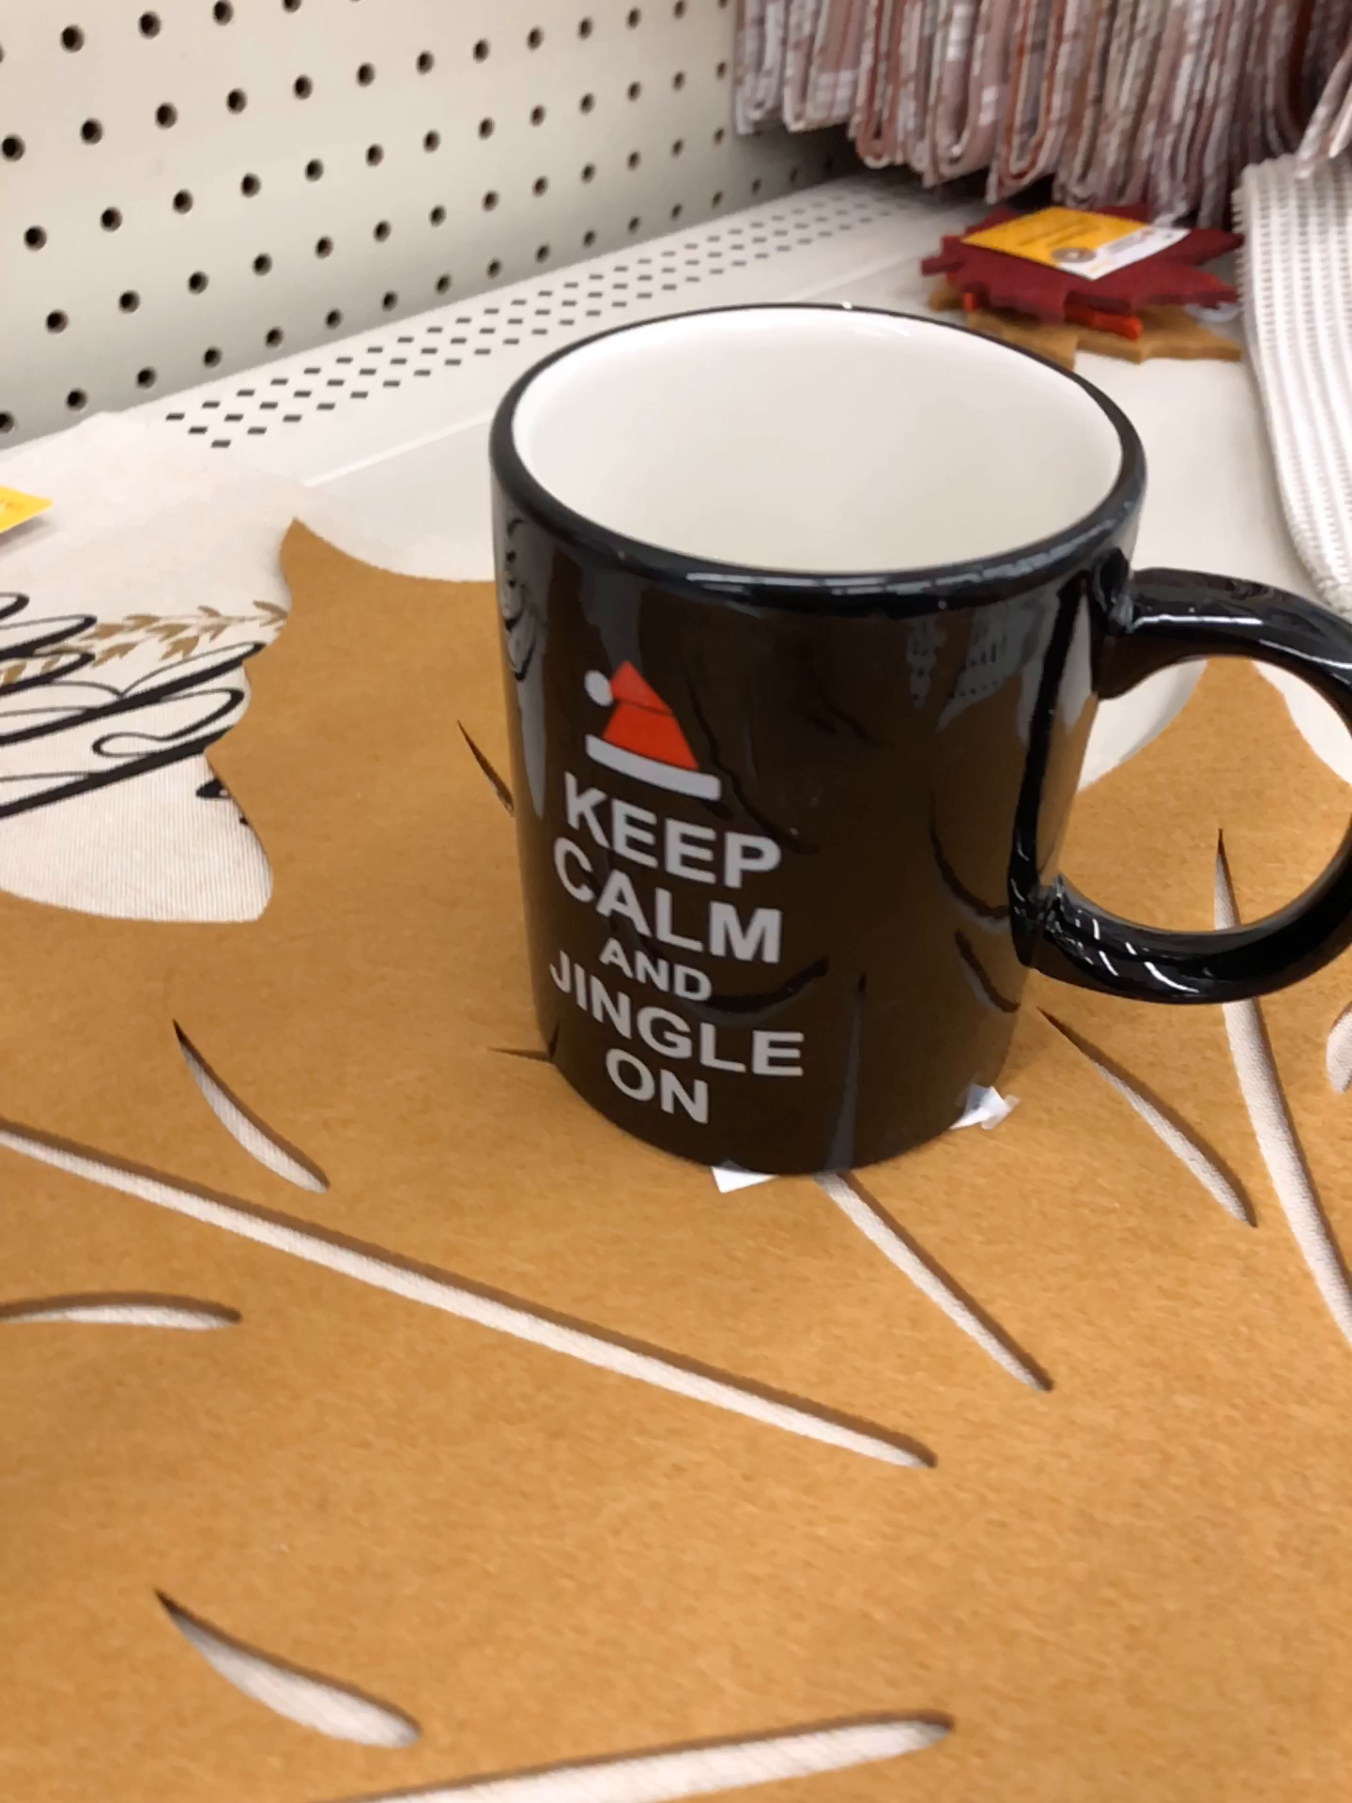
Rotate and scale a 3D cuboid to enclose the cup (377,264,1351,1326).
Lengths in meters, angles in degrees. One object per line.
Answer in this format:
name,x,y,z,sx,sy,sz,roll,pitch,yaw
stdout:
cup,0.039,-0.020,0.231,0.130,0.110,0.090,11,42,11
